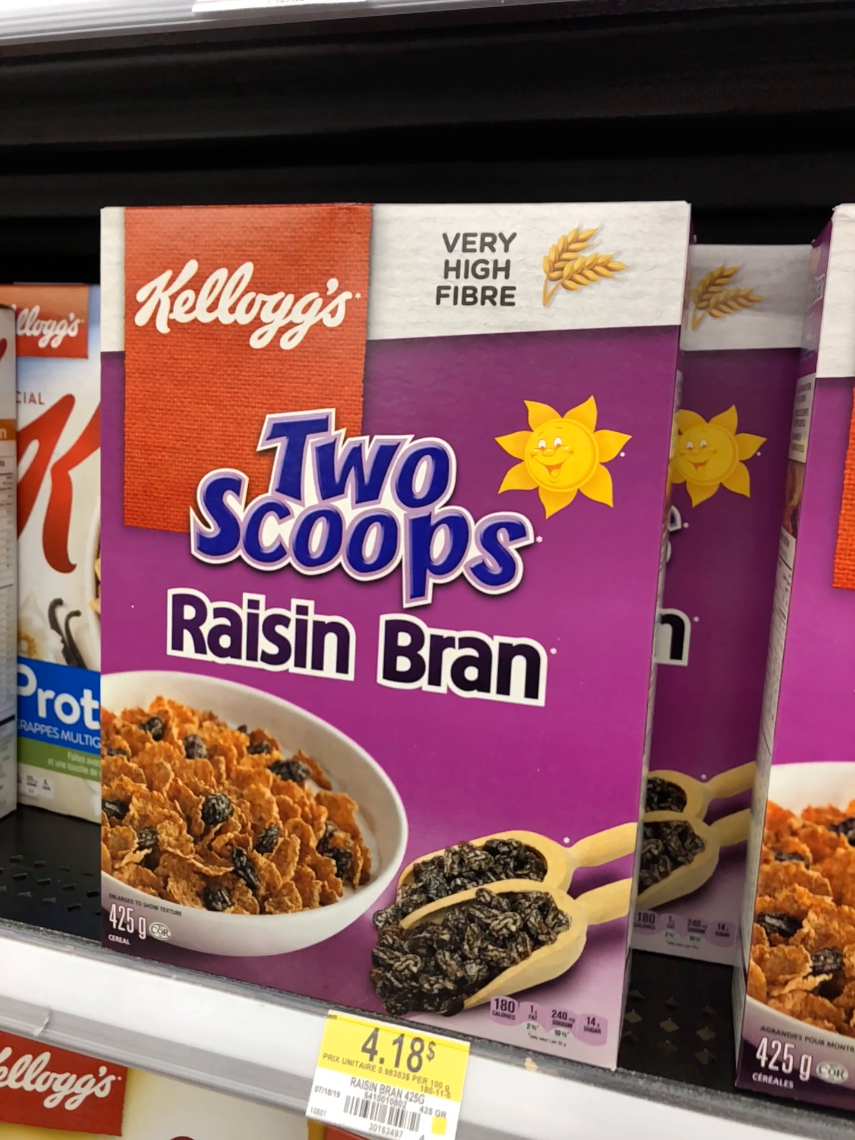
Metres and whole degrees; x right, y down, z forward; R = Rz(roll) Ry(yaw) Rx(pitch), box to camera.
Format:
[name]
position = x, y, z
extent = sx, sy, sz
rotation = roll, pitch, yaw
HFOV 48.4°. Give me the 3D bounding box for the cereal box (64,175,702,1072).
[cereal box]
position = -0.021, 0.013, 0.329
extent = 0.200, 0.269, 0.050
rotation = 5, 10, 15
